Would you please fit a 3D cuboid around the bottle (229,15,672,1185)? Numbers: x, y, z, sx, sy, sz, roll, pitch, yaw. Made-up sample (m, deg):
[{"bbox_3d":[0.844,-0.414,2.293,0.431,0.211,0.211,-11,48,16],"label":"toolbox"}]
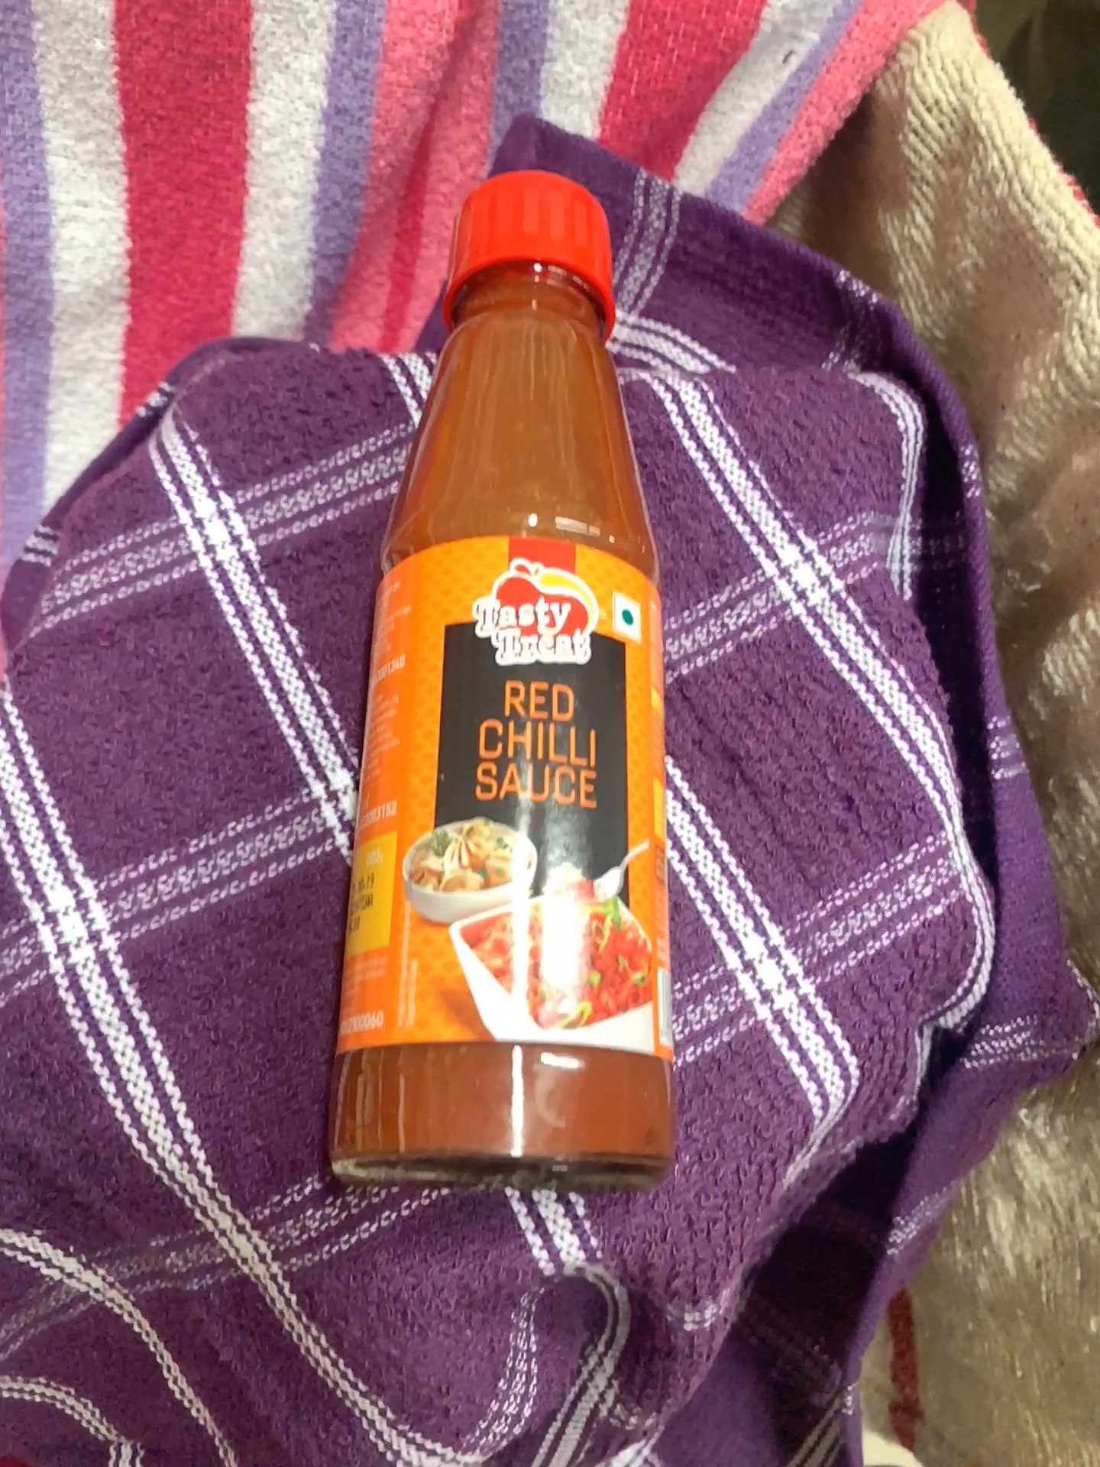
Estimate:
[{"bbox_3d":[-0.012,-0.027,0.180,0.050,0.040,0.180,1,70,-3],"label":"bottle"}]
